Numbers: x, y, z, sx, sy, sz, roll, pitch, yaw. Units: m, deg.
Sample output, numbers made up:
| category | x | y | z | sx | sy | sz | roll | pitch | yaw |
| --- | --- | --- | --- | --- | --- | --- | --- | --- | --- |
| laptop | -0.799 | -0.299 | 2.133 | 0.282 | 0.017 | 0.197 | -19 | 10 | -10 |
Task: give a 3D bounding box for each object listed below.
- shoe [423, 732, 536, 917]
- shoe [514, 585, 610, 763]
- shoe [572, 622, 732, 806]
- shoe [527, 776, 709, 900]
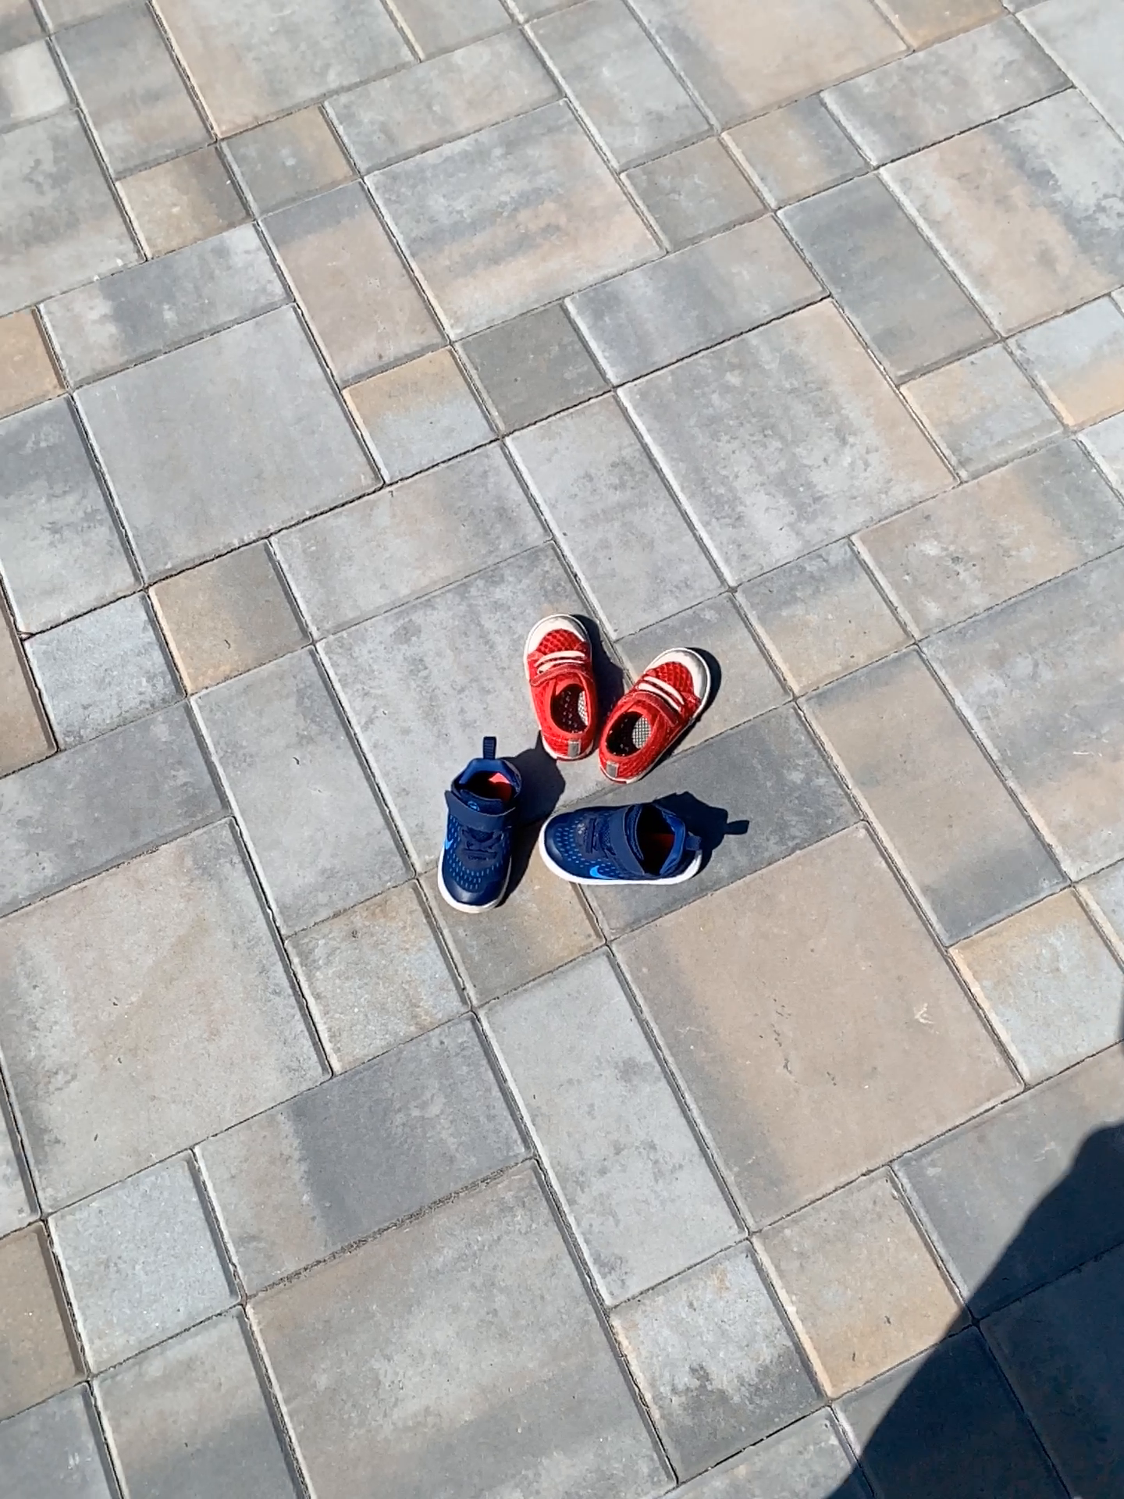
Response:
| category | x | y | z | sx | sy | sz | roll | pitch | yaw |
| --- | --- | --- | --- | --- | --- | --- | --- | --- | --- |
| shoe | -0.078 | 0.074 | 1.132 | 0.080 | 0.070 | 0.160 | 7 | 71 | 5 |
| shoe | 0.000 | -0.077 | 1.180 | 0.080 | 0.070 | 0.160 | -6 | 70 | 0 |
| shoe | 0.092 | -0.036 | 1.177 | 0.080 | 0.070 | 0.160 | 35 | 75 | 14 |
| shoe | 0.054 | 0.086 | 1.107 | 0.160 | 0.080 | 0.080 | 7 | 71 | 5 |
